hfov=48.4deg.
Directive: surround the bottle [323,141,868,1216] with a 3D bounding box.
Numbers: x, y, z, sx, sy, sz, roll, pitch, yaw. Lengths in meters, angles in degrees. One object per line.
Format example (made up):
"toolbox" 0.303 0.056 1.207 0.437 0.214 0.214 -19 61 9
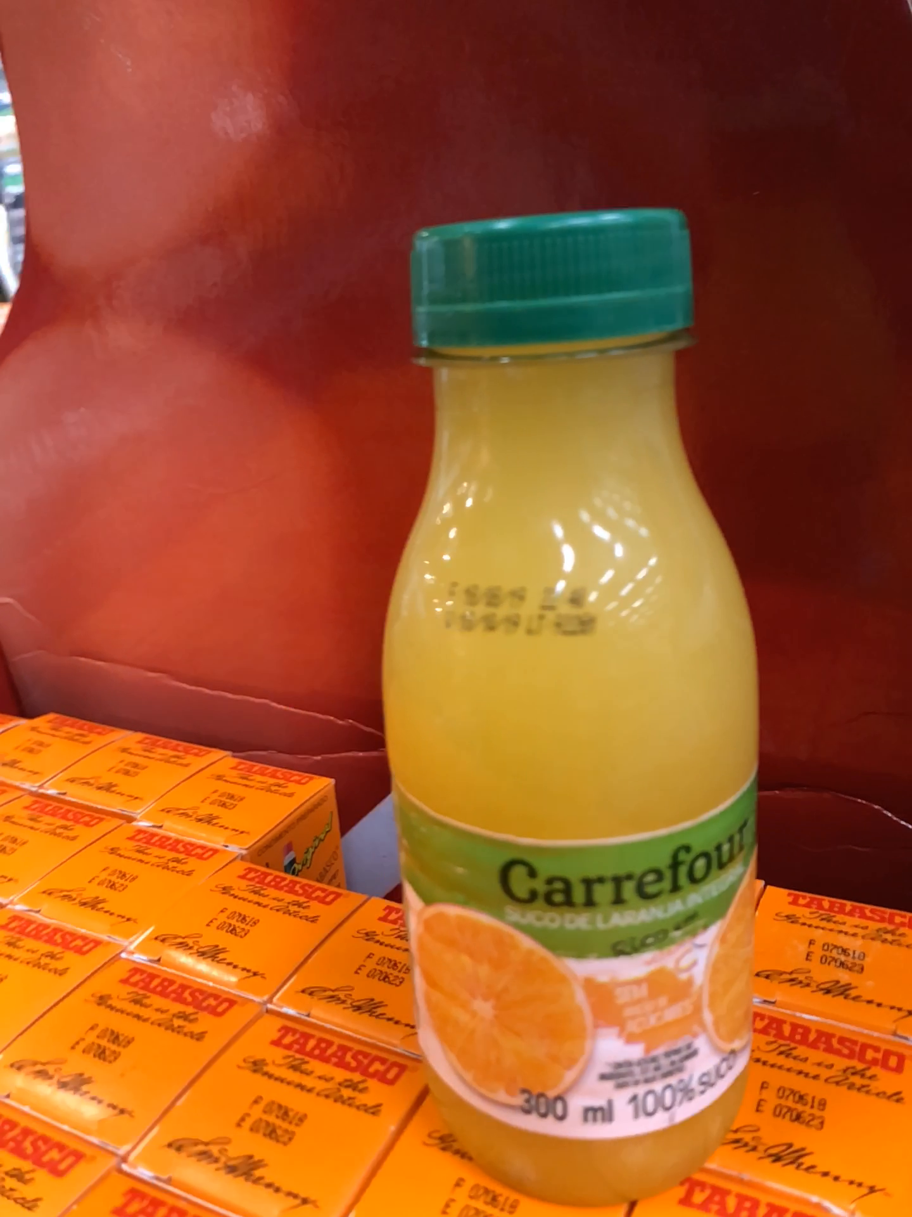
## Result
"bottle" 0.019 0.013 0.159 0.060 0.149 0.050 -7 18 -9
